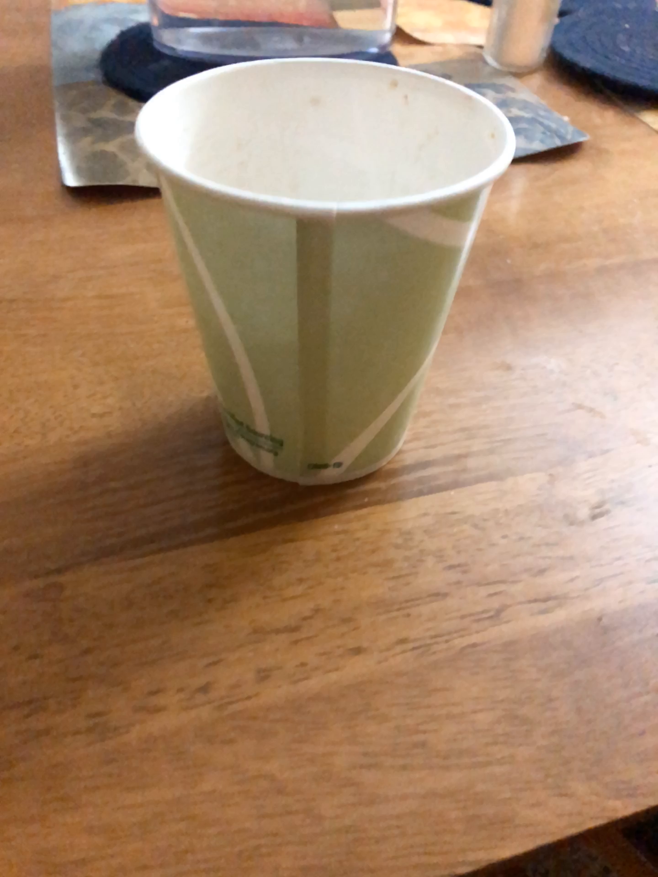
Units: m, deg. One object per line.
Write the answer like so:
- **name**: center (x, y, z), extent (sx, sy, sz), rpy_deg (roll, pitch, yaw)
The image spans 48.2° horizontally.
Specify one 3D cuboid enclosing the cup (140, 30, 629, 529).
- **cup**: center (0.004, -0.050, 0.212), extent (0.090, 0.090, 0.100), rpy_deg (-11, 47, -14)
